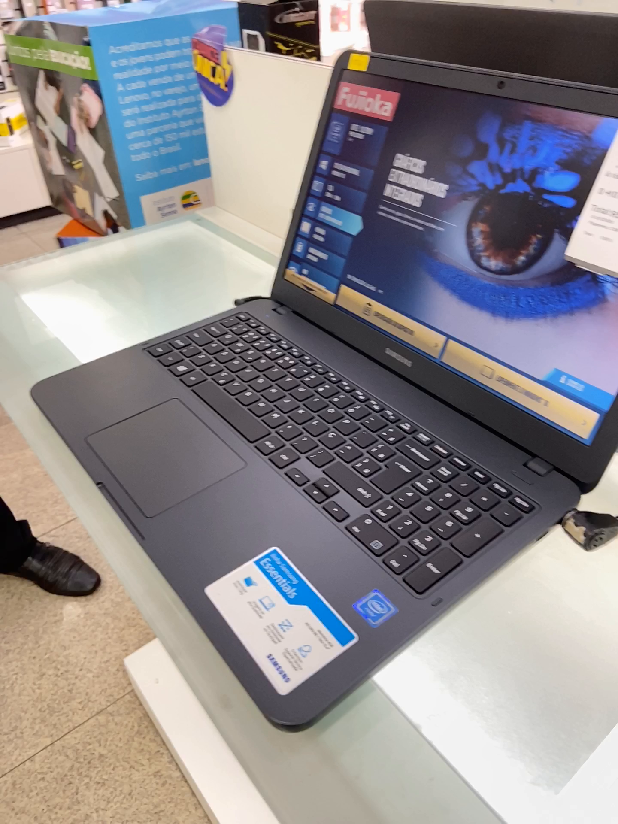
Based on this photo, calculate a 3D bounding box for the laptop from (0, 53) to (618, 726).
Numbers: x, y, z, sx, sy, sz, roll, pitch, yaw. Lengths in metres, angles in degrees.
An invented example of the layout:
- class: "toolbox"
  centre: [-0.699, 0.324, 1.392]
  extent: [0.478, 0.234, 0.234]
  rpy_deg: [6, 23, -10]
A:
- class: "laptop"
  centre: [0.009, -0.090, 0.438]
  extent: [0.347, 0.207, 0.367]
  rpy_deg: [-27, 42, -28]
